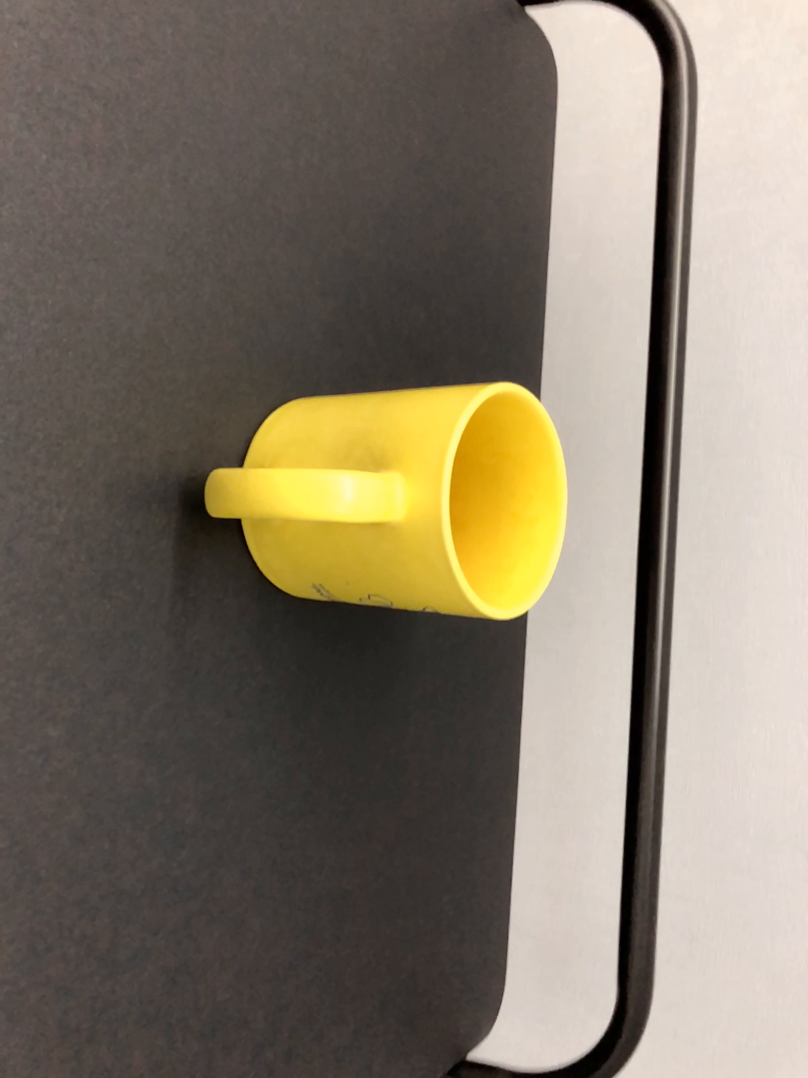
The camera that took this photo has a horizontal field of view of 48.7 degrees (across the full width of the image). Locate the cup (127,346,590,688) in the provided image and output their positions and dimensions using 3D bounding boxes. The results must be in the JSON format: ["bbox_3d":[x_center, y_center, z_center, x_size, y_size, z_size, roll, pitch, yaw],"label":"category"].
[{"bbox_3d":[-0.009,-0.014,0.312,0.126,0.101,0.089,-11,101,-53],"label":"cup"}]
